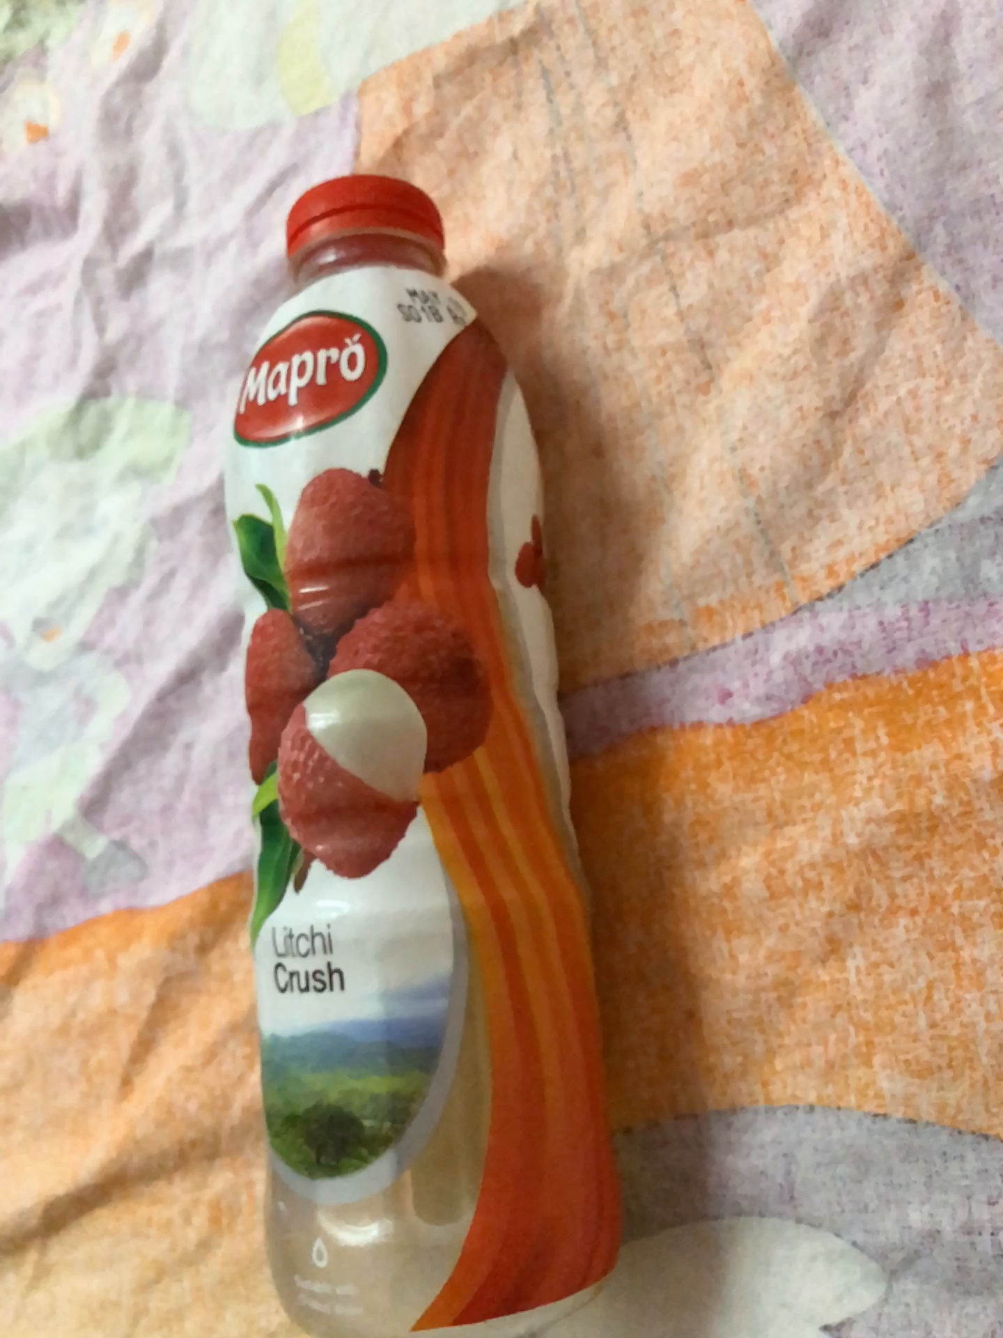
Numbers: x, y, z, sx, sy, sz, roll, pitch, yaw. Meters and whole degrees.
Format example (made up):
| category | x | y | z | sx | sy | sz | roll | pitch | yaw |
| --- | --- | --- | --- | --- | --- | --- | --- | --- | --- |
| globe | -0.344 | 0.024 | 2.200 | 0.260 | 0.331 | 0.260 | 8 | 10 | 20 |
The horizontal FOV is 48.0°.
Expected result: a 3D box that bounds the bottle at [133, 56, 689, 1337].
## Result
| category | x | y | z | sx | sy | sz | roll | pitch | yaw |
| --- | --- | --- | --- | --- | --- | --- | --- | --- | --- |
| bottle | -0.025 | 0.013 | 0.258 | 0.080 | 0.070 | 0.260 | -12 | 79 | 34 |
